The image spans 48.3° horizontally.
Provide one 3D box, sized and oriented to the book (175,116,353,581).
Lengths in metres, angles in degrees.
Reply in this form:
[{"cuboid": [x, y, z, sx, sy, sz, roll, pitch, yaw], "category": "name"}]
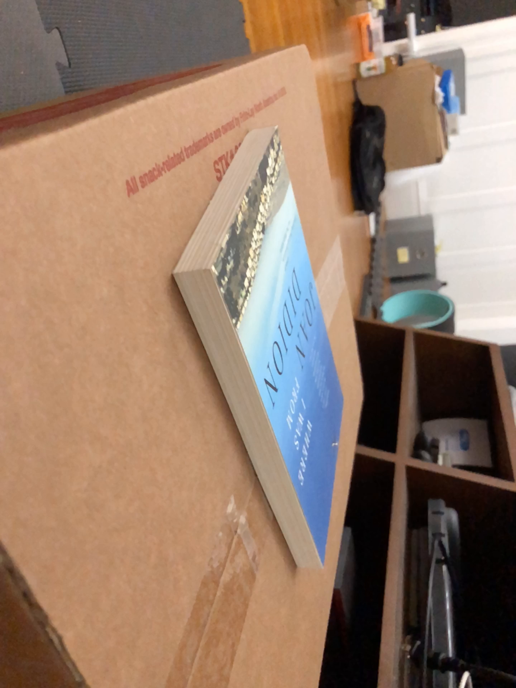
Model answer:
[{"cuboid": [0.021, 0.008, 0.312, 0.140, 0.020, 0.210, -74, 153, -47], "category": "book"}]
